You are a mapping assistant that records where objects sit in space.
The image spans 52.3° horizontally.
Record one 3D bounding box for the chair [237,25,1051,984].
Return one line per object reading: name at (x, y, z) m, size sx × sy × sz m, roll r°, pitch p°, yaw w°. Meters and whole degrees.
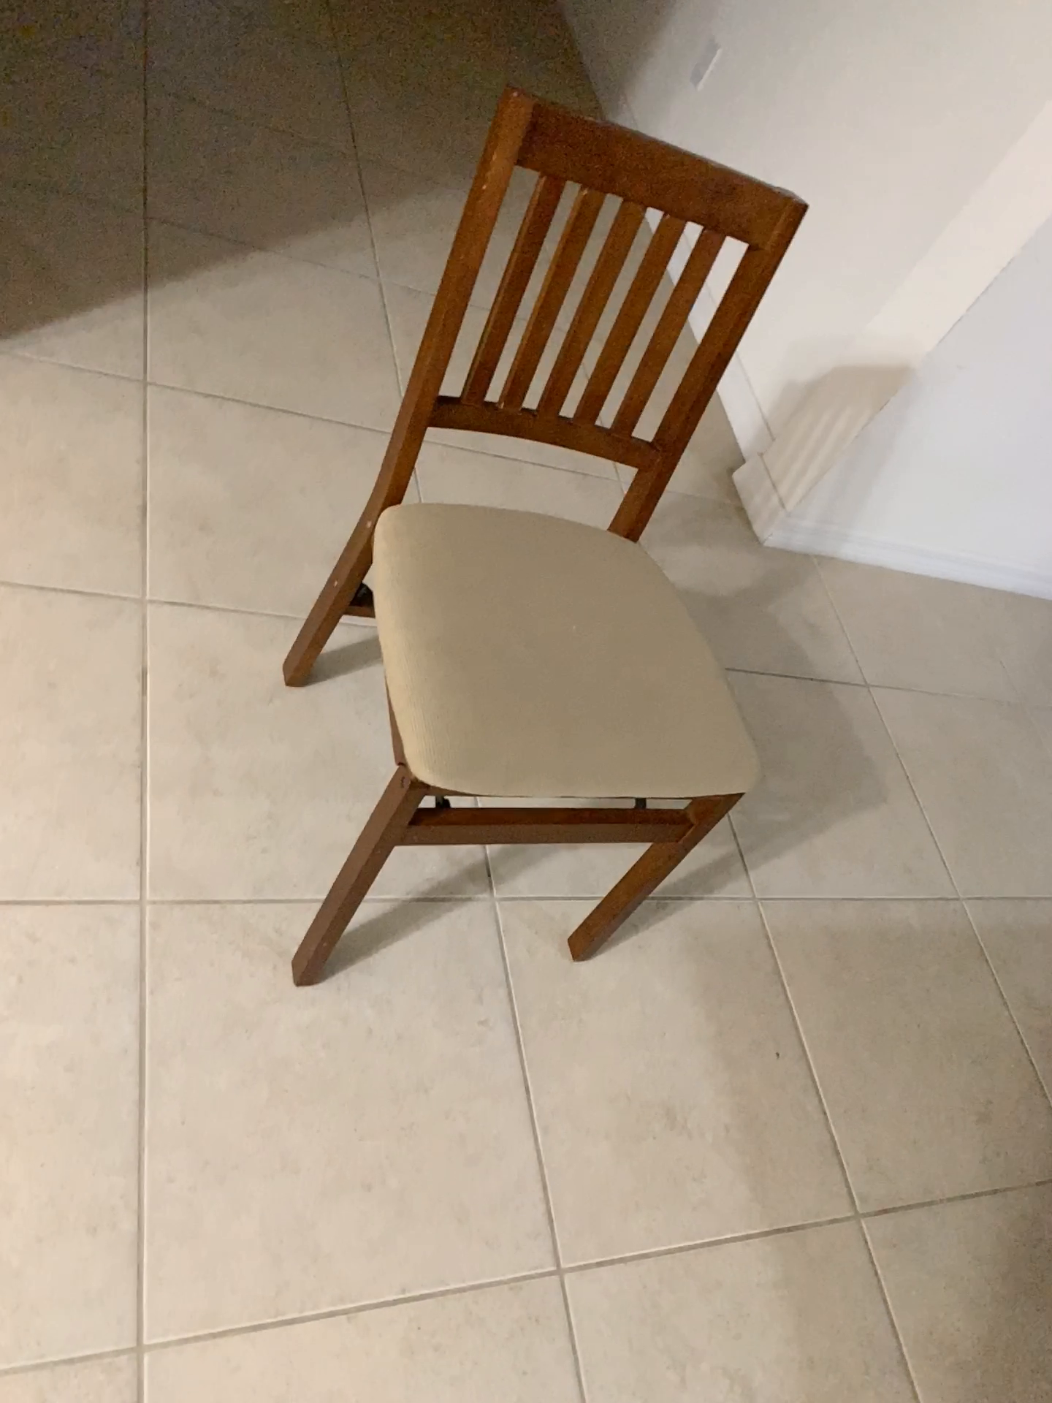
chair at (0.002, -0.125, 1.265) m, size 0.452 × 0.881 × 0.594 m, roll 5°, pitch 54°, yaw -27°
